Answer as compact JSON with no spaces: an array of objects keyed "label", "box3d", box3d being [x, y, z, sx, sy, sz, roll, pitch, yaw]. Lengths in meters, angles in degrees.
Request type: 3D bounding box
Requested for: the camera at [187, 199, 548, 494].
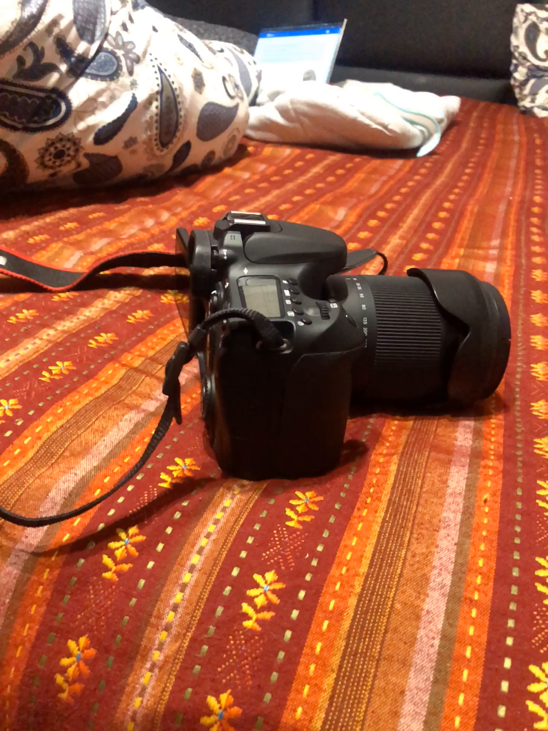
[{"label":"camera","box3d":[0.046,-0.022,0.334,0.170,0.099,0.131,-5,32,-14]}]
